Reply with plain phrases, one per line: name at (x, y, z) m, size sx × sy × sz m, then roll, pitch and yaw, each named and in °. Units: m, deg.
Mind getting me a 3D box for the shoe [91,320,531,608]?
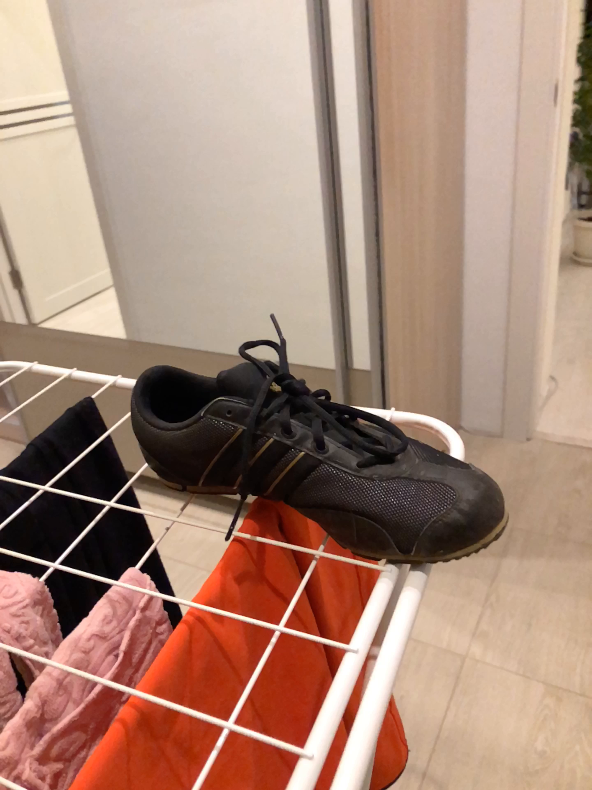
shoe at (0.006, 0.029, 0.429) m, size 0.260 × 0.099 × 0.099 m, roll 10°, pitch 32°, yaw 29°
